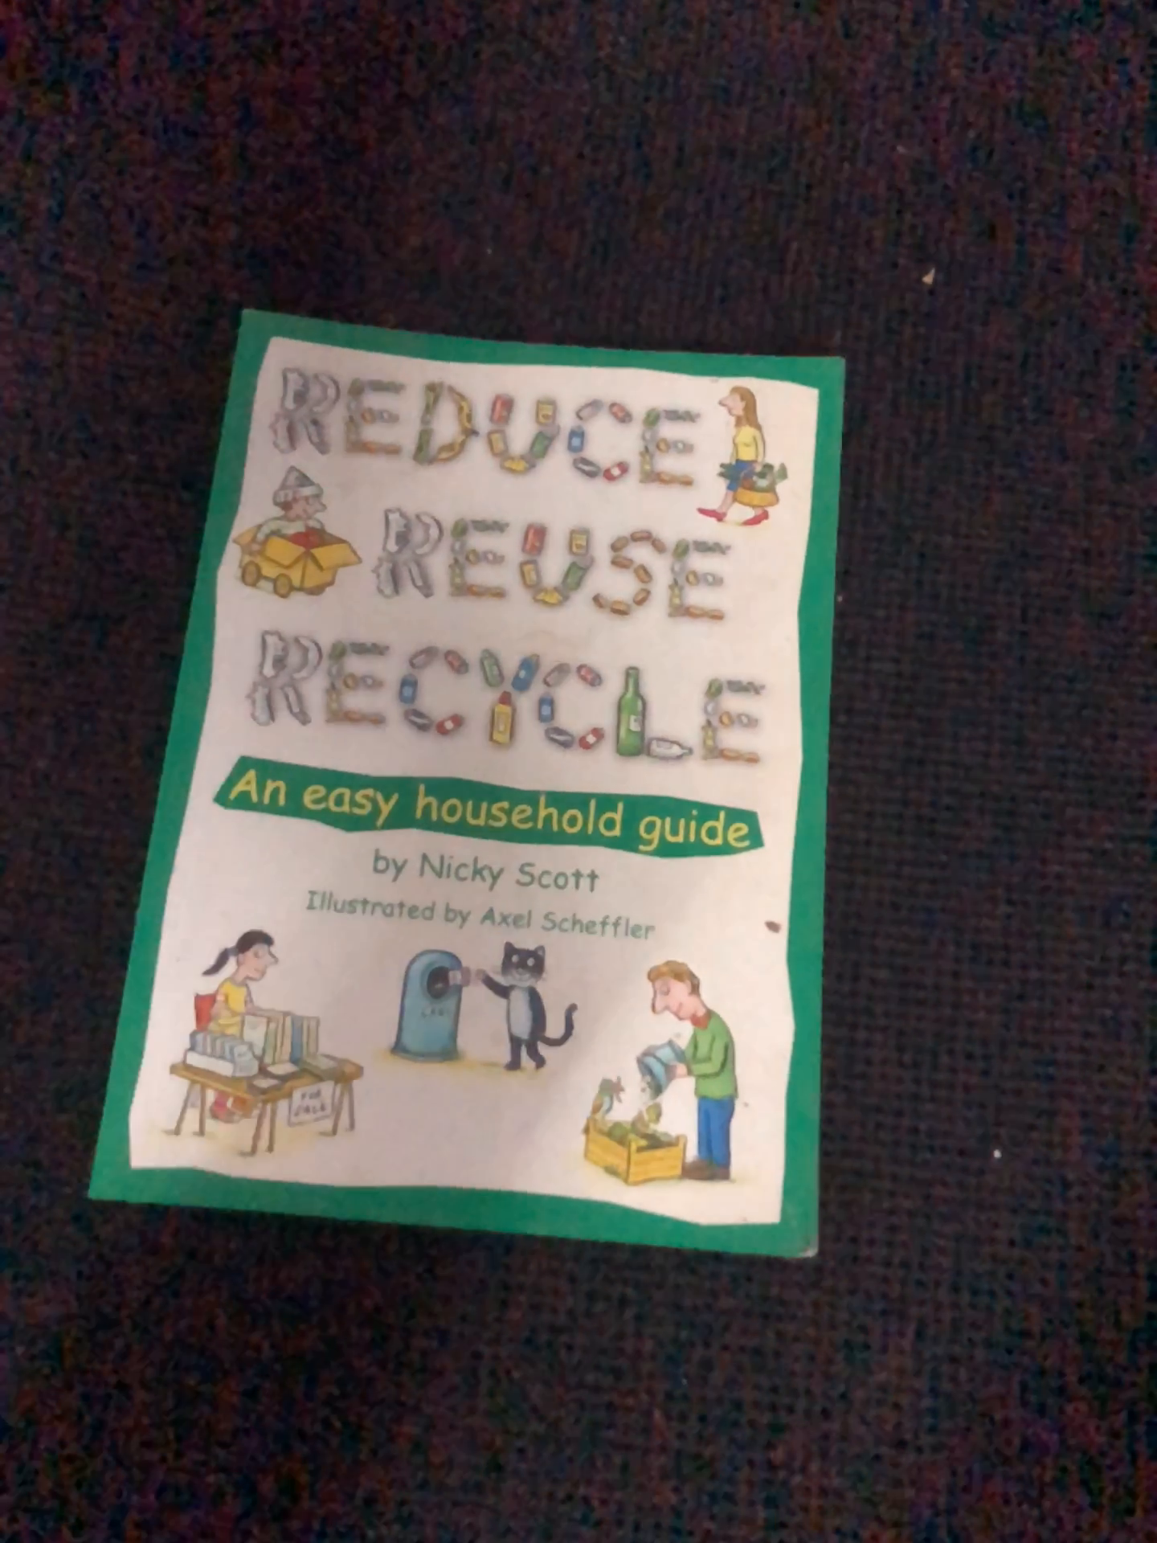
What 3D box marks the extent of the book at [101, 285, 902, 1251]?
[{"bbox_3d":[-0.007,-0.007,0.245,0.130,0.018,0.173,5,75,0],"label":"book"}]
